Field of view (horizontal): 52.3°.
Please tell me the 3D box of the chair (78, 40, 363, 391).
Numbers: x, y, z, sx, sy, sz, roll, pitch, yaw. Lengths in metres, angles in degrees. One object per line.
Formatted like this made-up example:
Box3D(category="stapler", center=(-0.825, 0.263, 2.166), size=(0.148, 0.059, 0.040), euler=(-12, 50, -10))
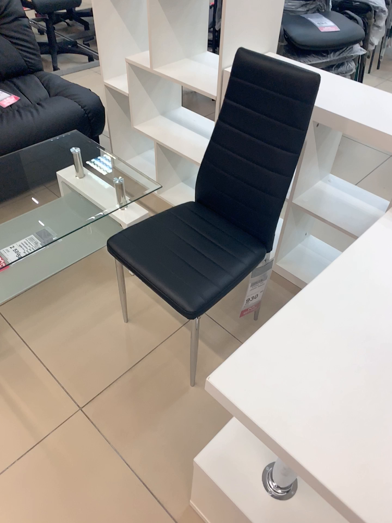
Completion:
Box3D(category="chair", center=(0.068, -0.133, 1.344), size=(0.601, 0.916, 0.441), euler=(-33, 54, -31))
